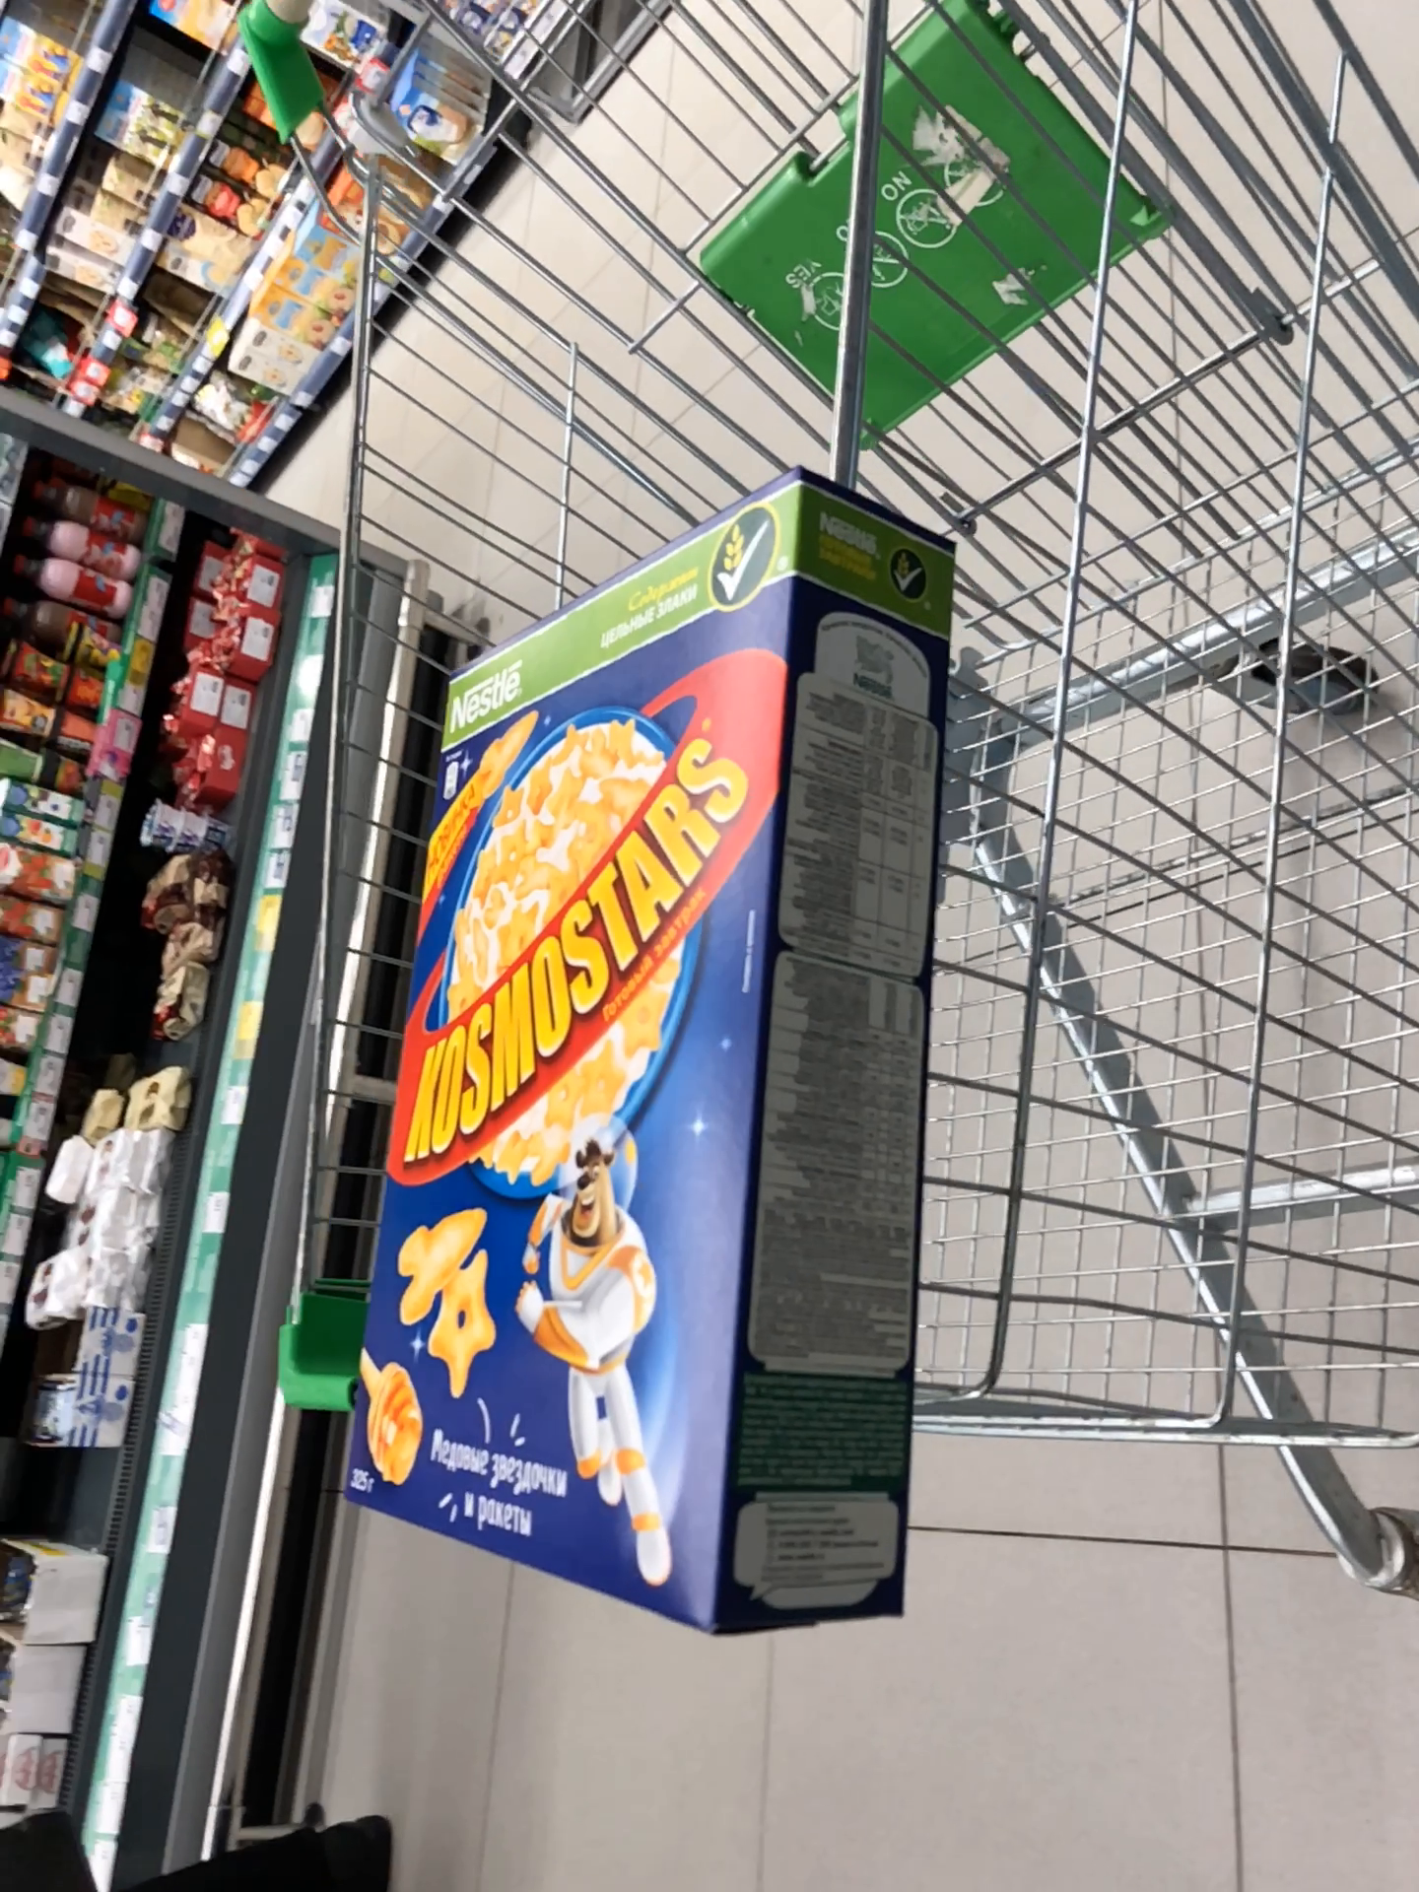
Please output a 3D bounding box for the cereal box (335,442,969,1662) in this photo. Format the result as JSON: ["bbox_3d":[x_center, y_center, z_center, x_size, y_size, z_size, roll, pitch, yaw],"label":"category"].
[{"bbox_3d":[-0.023,0.032,0.449,0.201,0.060,0.280,-15,67,54],"label":"cereal box"}]
